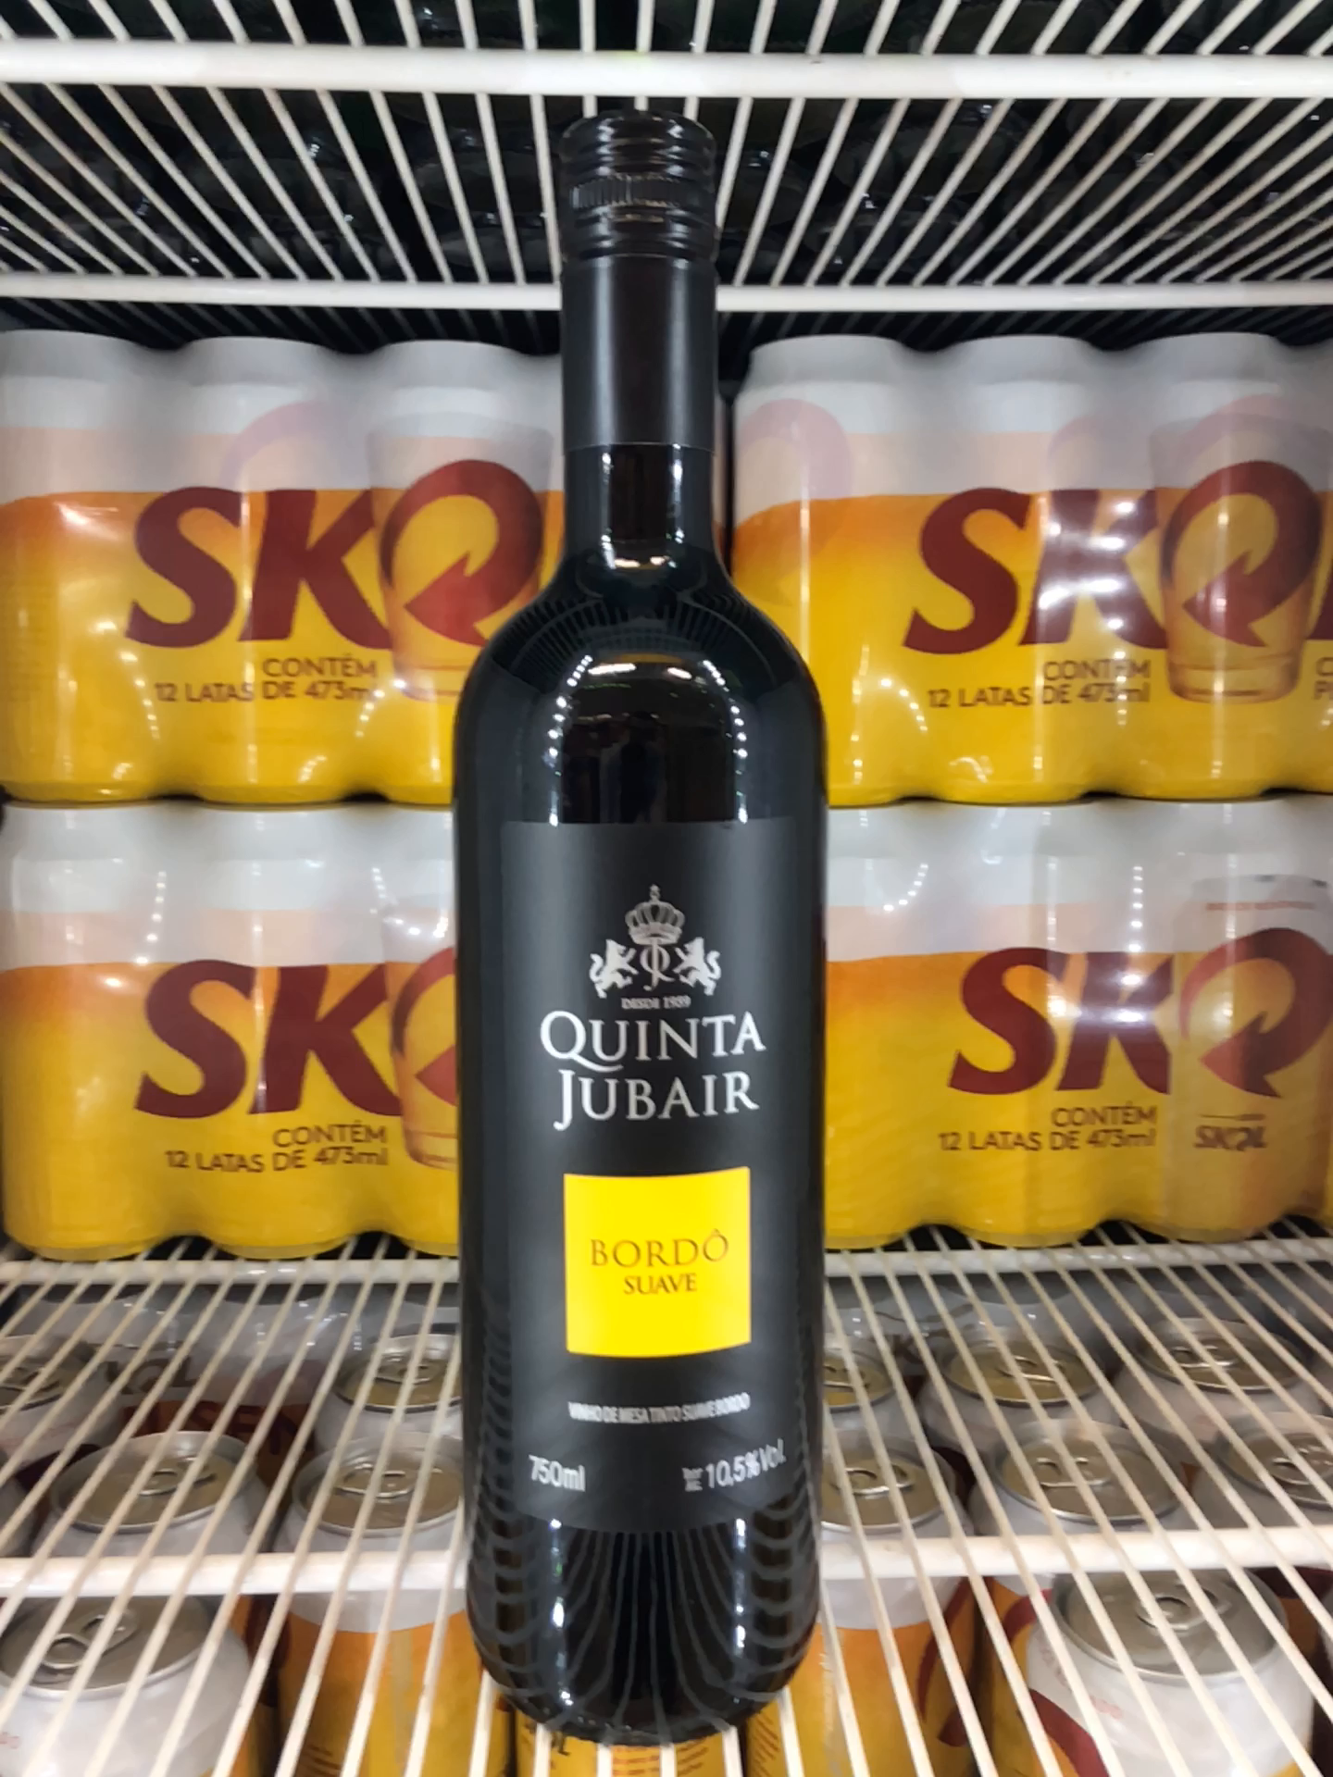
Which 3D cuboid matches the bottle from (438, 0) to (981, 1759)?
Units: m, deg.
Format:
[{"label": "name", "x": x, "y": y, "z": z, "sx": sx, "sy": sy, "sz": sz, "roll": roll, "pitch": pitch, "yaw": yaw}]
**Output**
[{"label": "bottle", "x": 0.008, "y": -0.001, "z": 0.269, "sx": 0.080, "sy": 0.289, "sz": 0.070, "roll": -1, "pitch": 7, "yaw": 0}]
